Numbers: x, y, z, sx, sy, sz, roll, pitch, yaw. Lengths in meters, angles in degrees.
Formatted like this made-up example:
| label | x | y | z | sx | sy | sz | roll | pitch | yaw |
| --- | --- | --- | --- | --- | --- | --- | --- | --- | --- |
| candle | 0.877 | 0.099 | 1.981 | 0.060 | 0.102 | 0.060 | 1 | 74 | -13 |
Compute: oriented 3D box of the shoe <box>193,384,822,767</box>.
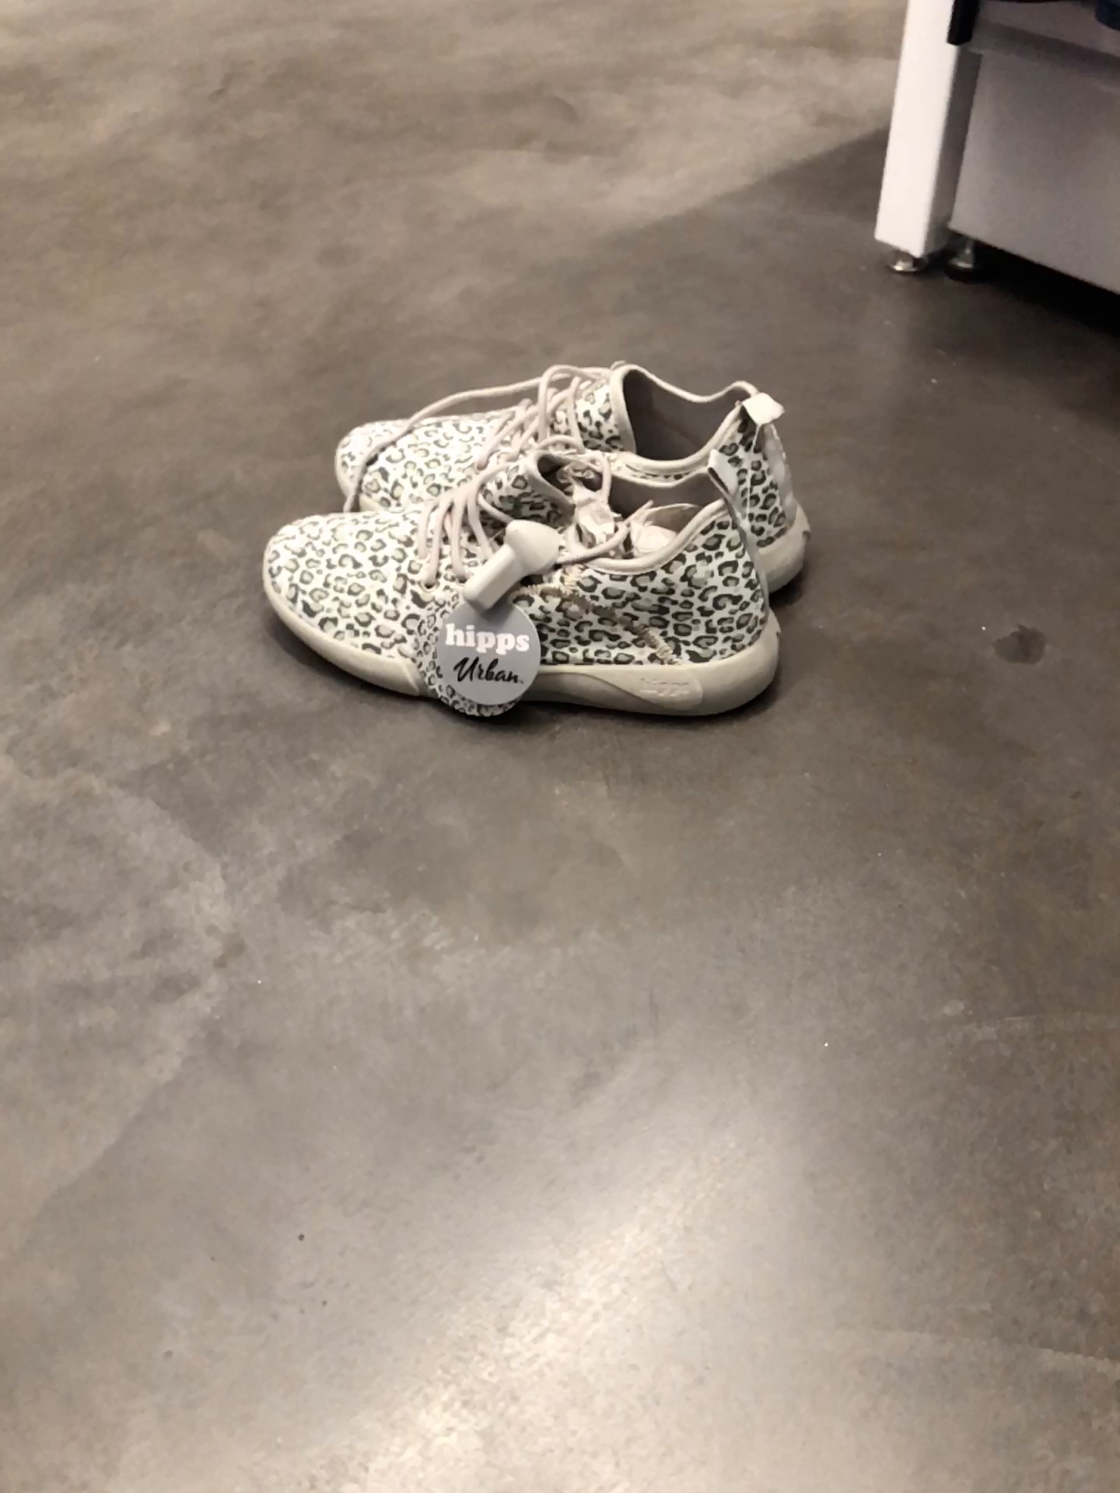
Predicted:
| label | x | y | z | sx | sy | sz | roll | pitch | yaw |
| --- | --- | --- | --- | --- | --- | --- | --- | --- | --- |
| shoe | -0.019 | -0.082 | 0.562 | 0.250 | 0.099 | 0.101 | 10 | 47 | 12 |

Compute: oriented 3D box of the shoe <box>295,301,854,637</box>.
| label | x | y | z | sx | sy | sz | roll | pitch | yaw |
| --- | --- | --- | --- | --- | --- | --- | --- | --- | --- |
| shoe | 0.010 | -0.144 | 0.626 | 0.250 | 0.099 | 0.101 | 10 | 47 | 12 |
